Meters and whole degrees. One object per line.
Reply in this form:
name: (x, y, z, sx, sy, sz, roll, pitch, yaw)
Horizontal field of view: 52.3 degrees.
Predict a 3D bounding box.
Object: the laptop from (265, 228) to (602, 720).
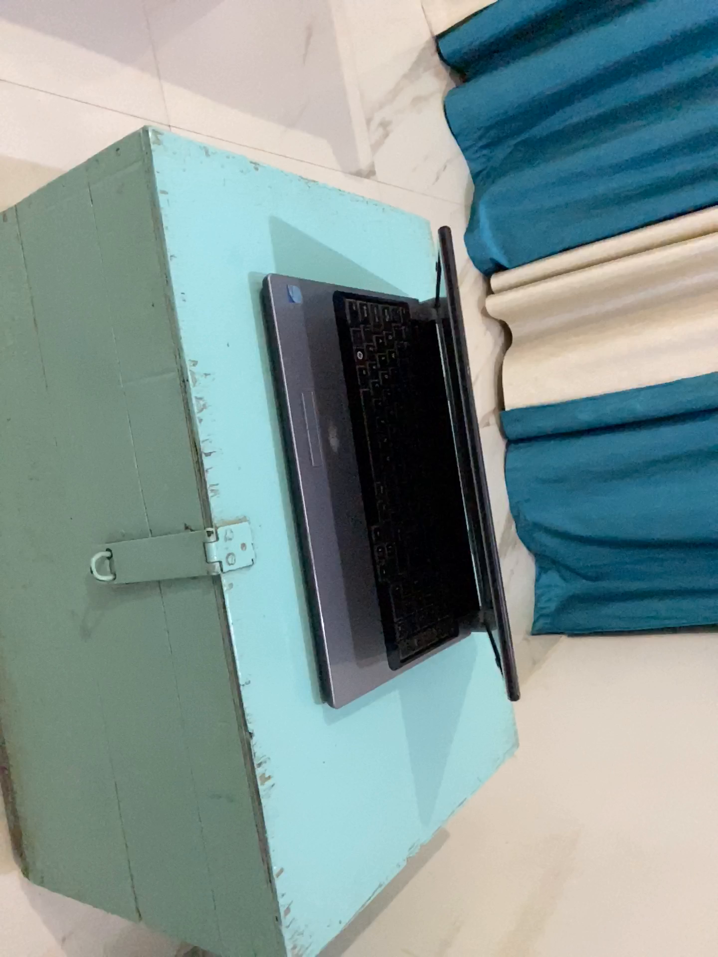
laptop: (0.087, -0.007, 0.715, 0.262, 0.152, 0.387, -10, 91, -53)
